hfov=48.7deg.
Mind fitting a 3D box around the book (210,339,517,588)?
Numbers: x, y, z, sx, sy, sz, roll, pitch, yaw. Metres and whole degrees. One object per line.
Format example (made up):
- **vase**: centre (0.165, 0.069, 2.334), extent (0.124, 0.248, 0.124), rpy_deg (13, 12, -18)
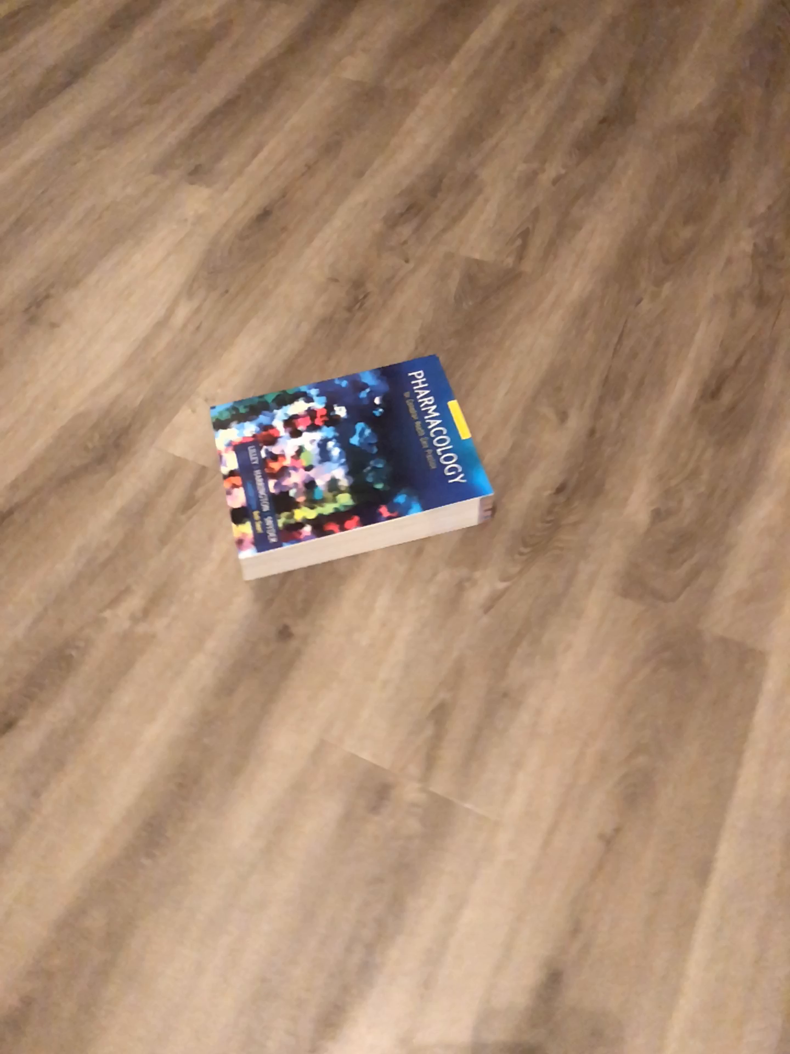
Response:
- **book**: centre (-0.040, -0.077, 0.938), extent (0.277, 0.046, 0.229), rpy_deg (-14, 56, -6)
